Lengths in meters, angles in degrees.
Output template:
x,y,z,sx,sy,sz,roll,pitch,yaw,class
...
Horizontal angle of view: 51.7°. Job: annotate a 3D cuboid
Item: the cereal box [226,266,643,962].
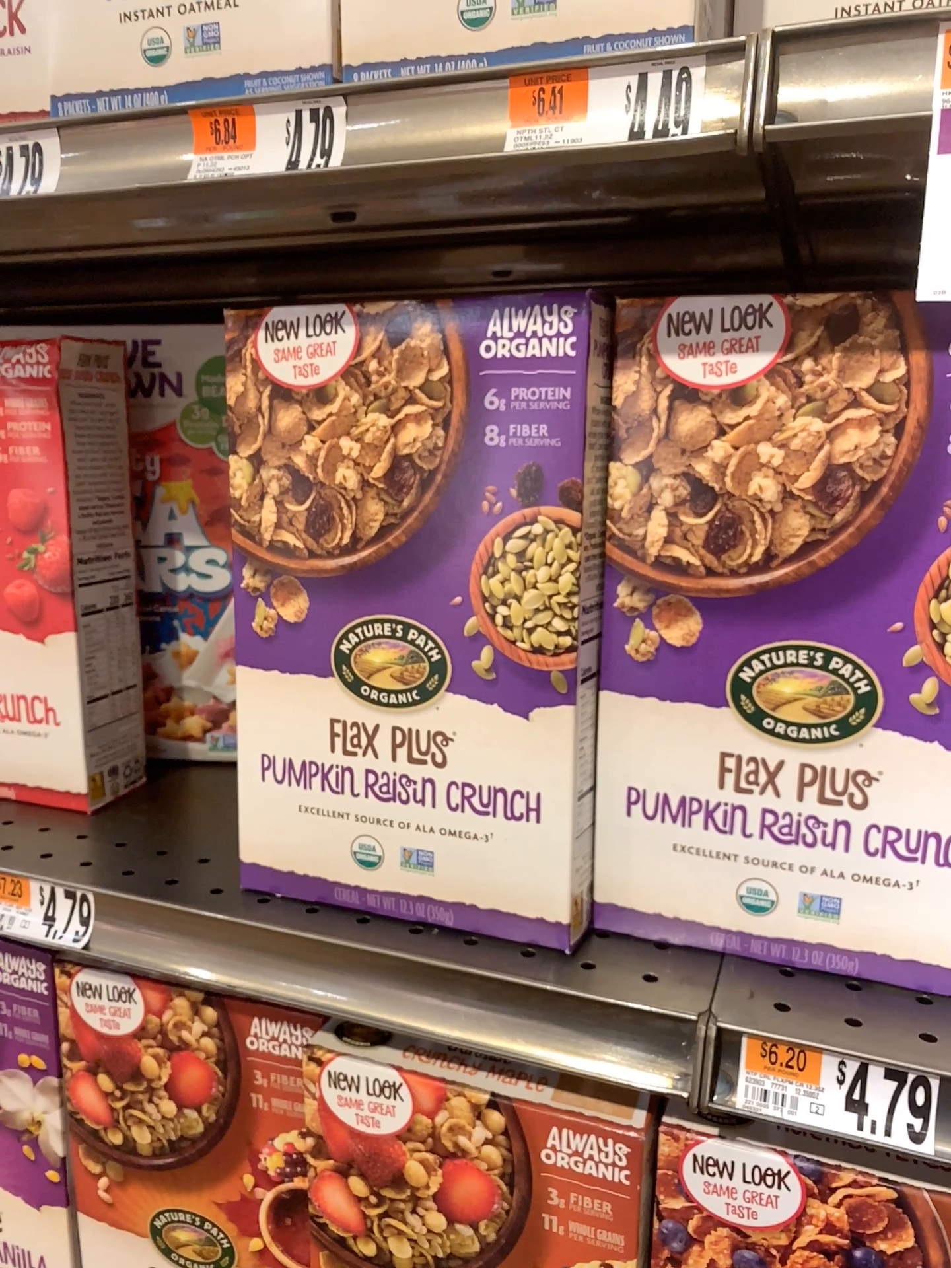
x,y,z,sx,sy,sz,roll,pitch,yaw,class
-0.022,-0.011,0.432,0.170,0.269,0.050,5,9,22,cereal box
